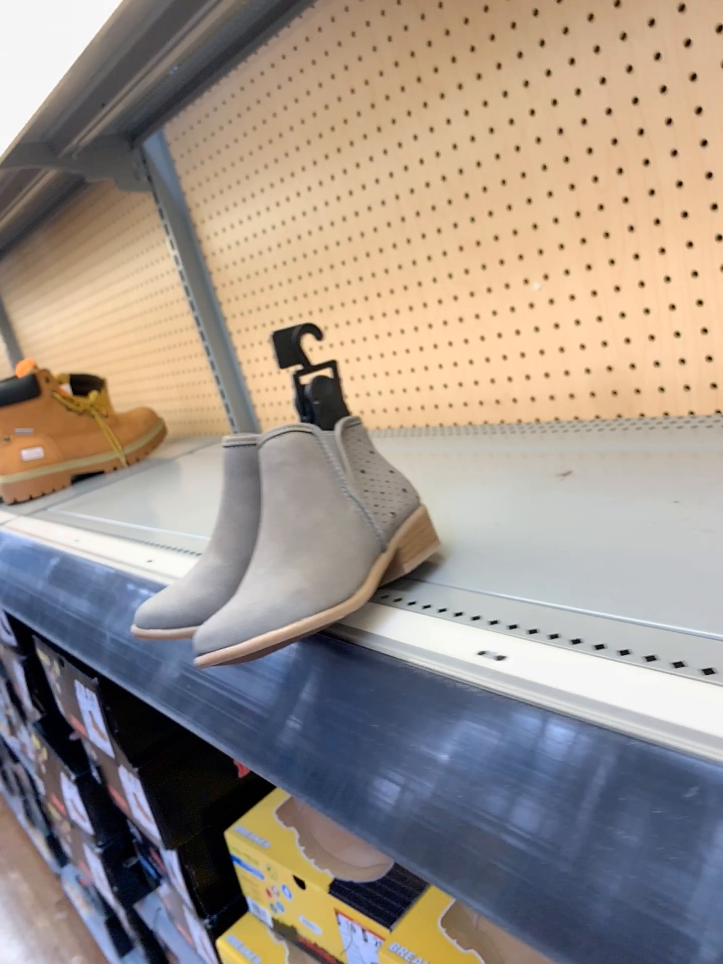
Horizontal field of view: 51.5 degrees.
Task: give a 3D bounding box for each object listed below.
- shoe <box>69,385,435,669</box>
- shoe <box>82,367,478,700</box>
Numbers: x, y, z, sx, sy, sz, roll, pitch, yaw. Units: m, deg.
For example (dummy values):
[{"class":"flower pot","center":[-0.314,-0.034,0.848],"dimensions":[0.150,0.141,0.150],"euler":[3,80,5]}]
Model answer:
[{"class":"shoe","center":[-0.069,0.019,0.488],"dimensions":[0.196,0.103,0.087],"euler":[-23,12,-22]},{"class":"shoe","center":[-0.038,0.023,0.429],"dimensions":[0.186,0.113,0.074],"euler":[-27,2,-40]}]
